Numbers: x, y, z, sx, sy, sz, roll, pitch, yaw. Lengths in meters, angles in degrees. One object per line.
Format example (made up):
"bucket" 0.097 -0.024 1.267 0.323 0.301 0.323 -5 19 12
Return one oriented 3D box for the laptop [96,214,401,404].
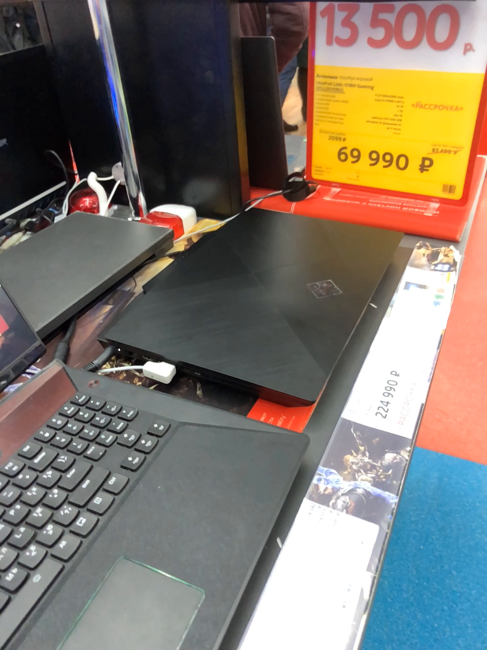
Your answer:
"laptop" 0.035 -0.056 0.708 0.261 0.002 0.399 13 37 22
